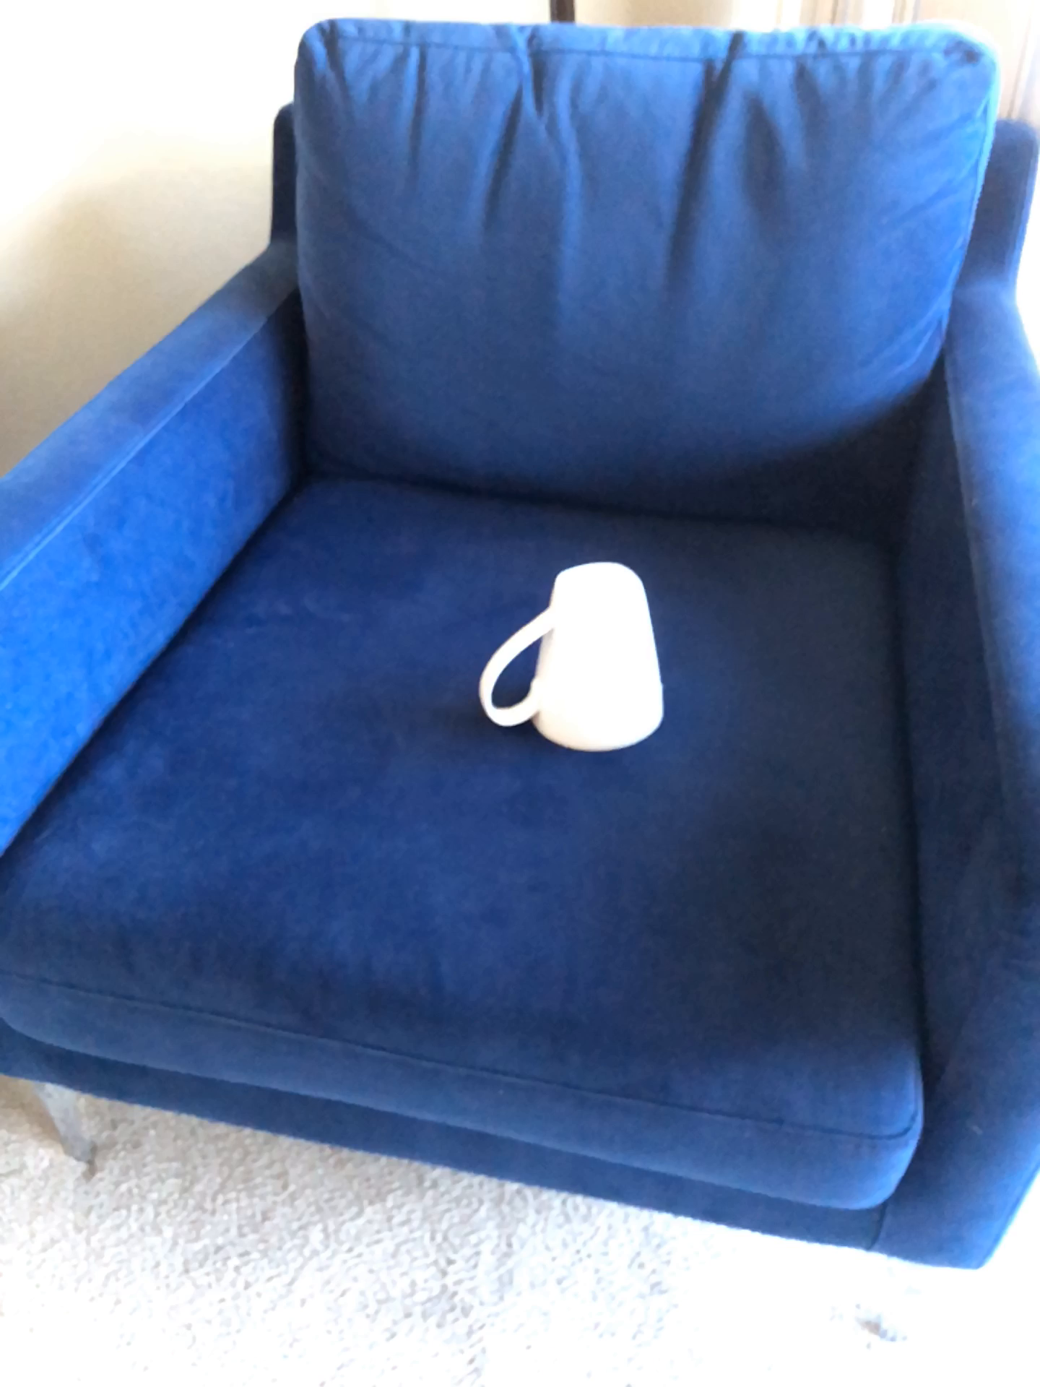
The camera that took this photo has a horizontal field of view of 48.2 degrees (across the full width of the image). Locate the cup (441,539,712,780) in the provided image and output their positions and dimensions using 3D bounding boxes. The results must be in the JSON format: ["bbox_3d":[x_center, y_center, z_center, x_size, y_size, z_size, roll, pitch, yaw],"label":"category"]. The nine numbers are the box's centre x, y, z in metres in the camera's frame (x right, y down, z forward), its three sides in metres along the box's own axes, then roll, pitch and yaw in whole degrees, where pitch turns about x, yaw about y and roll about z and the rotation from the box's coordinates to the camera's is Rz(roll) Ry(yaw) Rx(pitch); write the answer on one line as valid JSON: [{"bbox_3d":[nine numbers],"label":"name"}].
[{"bbox_3d":[0.036,-0.027,0.802,0.150,0.090,0.110,-13,40,-14],"label":"cup"}]
